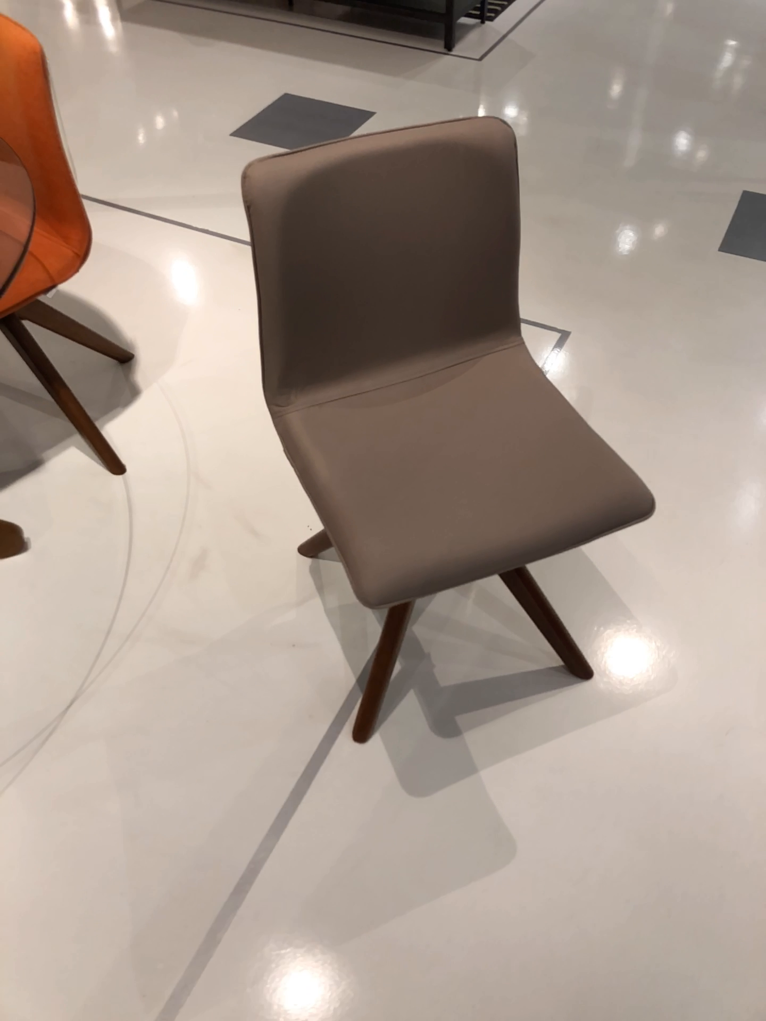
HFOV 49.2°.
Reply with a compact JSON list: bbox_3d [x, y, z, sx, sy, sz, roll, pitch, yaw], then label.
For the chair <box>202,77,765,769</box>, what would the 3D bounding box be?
[{"bbox_3d":[0.100,-0.100,1.266,0.501,0.805,0.513,-17,50,-14],"label":"chair"}]
